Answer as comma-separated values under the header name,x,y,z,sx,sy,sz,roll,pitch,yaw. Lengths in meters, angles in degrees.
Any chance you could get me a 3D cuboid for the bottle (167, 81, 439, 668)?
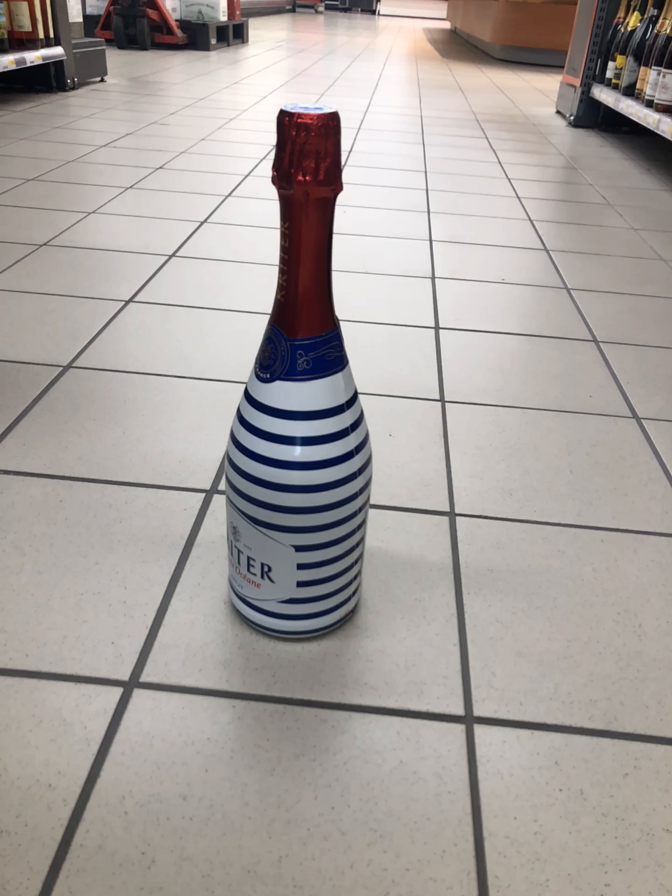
name,x,y,z,sx,sy,sz,roll,pitch,yaw
bottle,-0.026,-0.036,0.425,0.090,0.308,0.100,-16,34,-31
